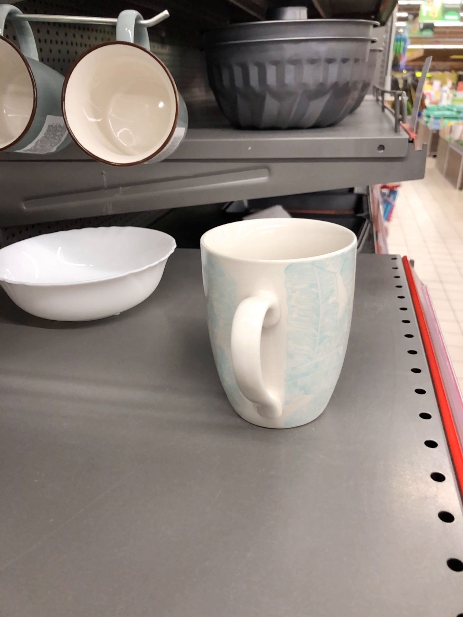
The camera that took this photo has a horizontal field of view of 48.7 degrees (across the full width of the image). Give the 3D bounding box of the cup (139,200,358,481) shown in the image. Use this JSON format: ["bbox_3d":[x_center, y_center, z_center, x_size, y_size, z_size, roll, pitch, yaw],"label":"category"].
[{"bbox_3d":[0.018,0.005,0.278,0.083,0.098,0.121,7,25,15],"label":"cup"}]
